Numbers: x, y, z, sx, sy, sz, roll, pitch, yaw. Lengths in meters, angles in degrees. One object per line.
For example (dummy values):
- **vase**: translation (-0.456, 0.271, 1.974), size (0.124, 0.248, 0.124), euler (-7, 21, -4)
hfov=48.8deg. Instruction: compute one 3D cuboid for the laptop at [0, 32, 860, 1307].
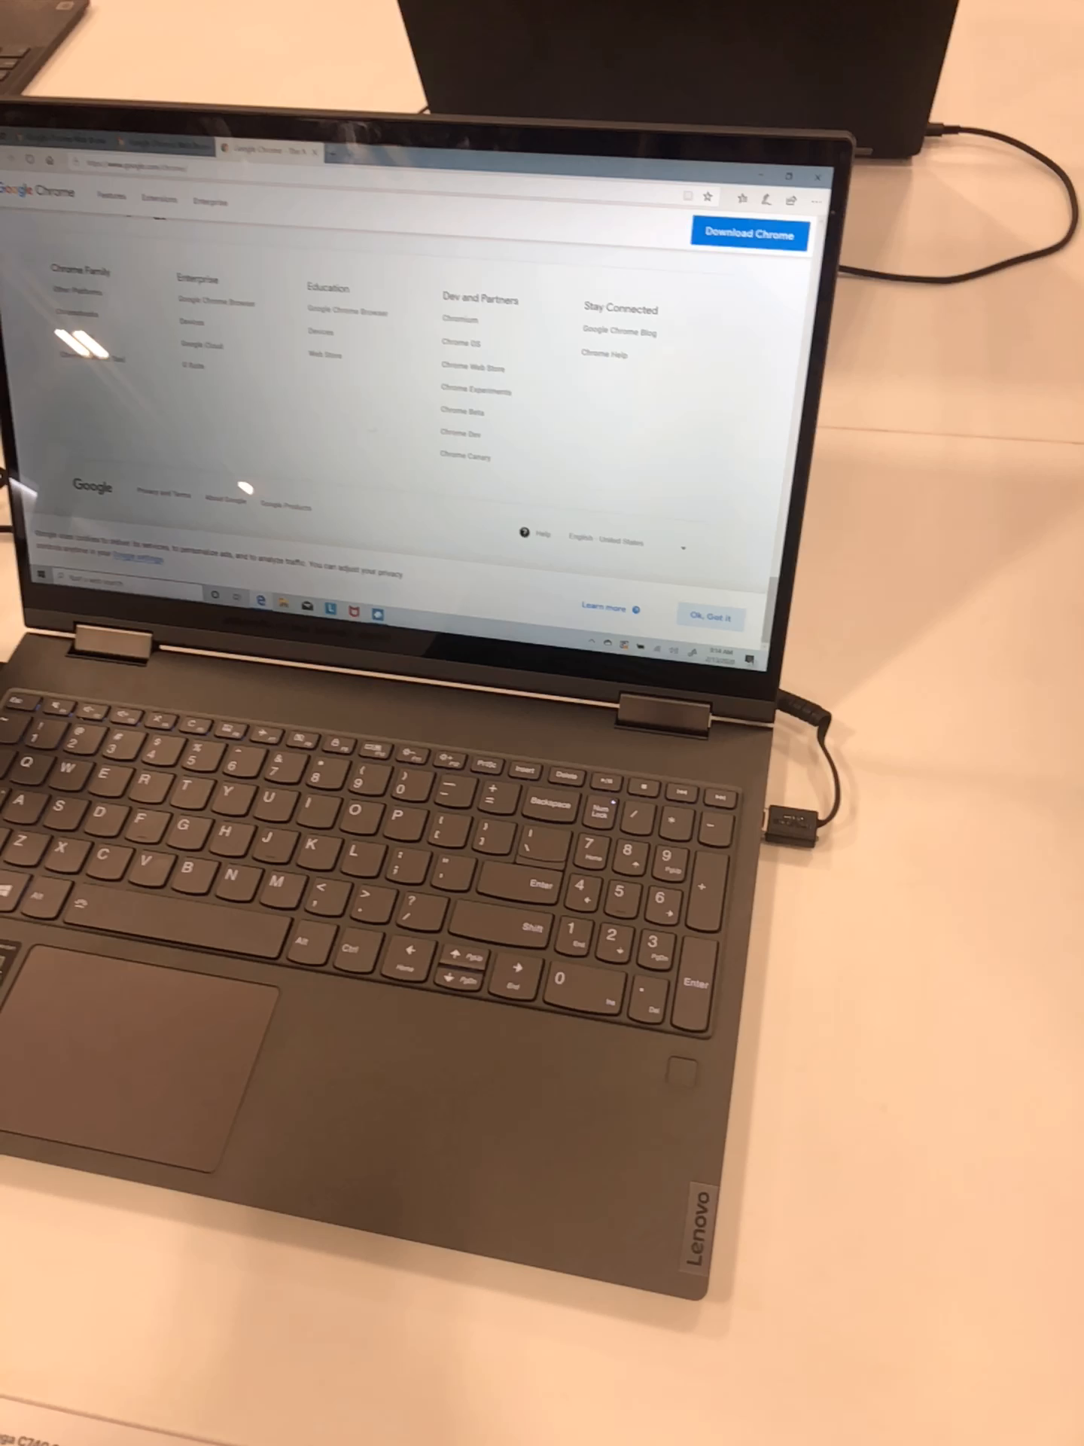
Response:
- **laptop**: translation (-0.087, -0.045, 0.437), size (0.352, 0.179, 0.365), euler (8, 60, 10)
